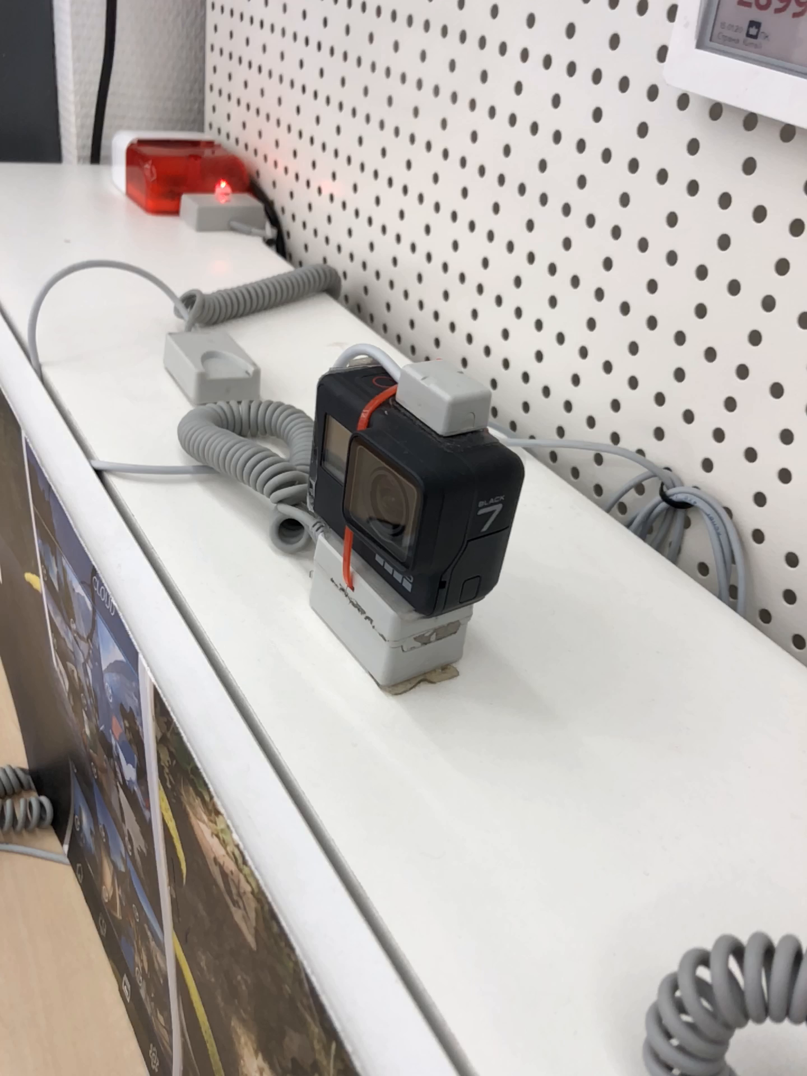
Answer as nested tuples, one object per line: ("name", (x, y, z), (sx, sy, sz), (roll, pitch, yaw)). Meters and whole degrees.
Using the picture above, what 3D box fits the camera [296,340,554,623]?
("camera", (0.002, -0.018, 0.238), (0.029, 0.044, 0.067), (-15, 41, -33))
